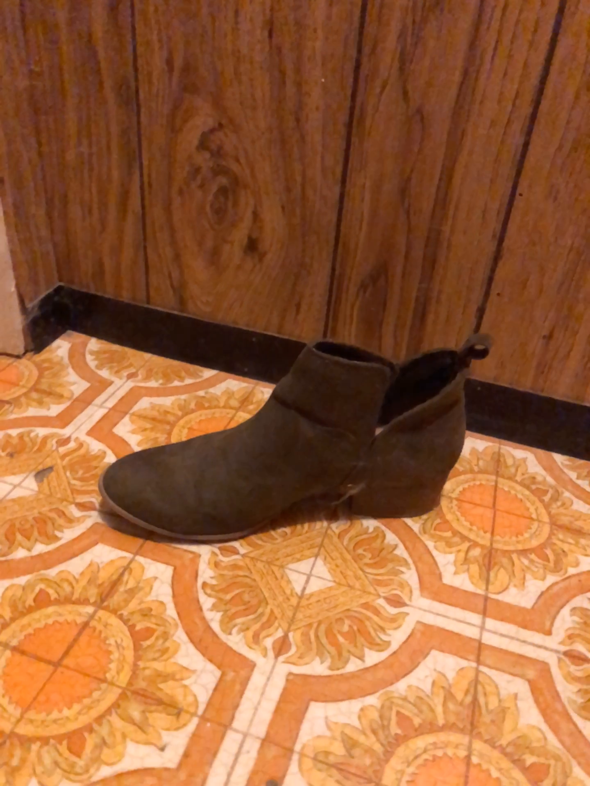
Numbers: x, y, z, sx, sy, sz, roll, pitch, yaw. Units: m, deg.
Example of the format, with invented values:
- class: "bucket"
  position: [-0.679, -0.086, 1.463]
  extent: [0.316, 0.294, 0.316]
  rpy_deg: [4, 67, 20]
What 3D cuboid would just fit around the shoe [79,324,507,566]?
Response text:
- class: "shoe"
  position: [-0.005, 0.032, 0.455]
  extent: [0.260, 0.130, 0.080]
  rpy_deg: [-3, 34, -12]
